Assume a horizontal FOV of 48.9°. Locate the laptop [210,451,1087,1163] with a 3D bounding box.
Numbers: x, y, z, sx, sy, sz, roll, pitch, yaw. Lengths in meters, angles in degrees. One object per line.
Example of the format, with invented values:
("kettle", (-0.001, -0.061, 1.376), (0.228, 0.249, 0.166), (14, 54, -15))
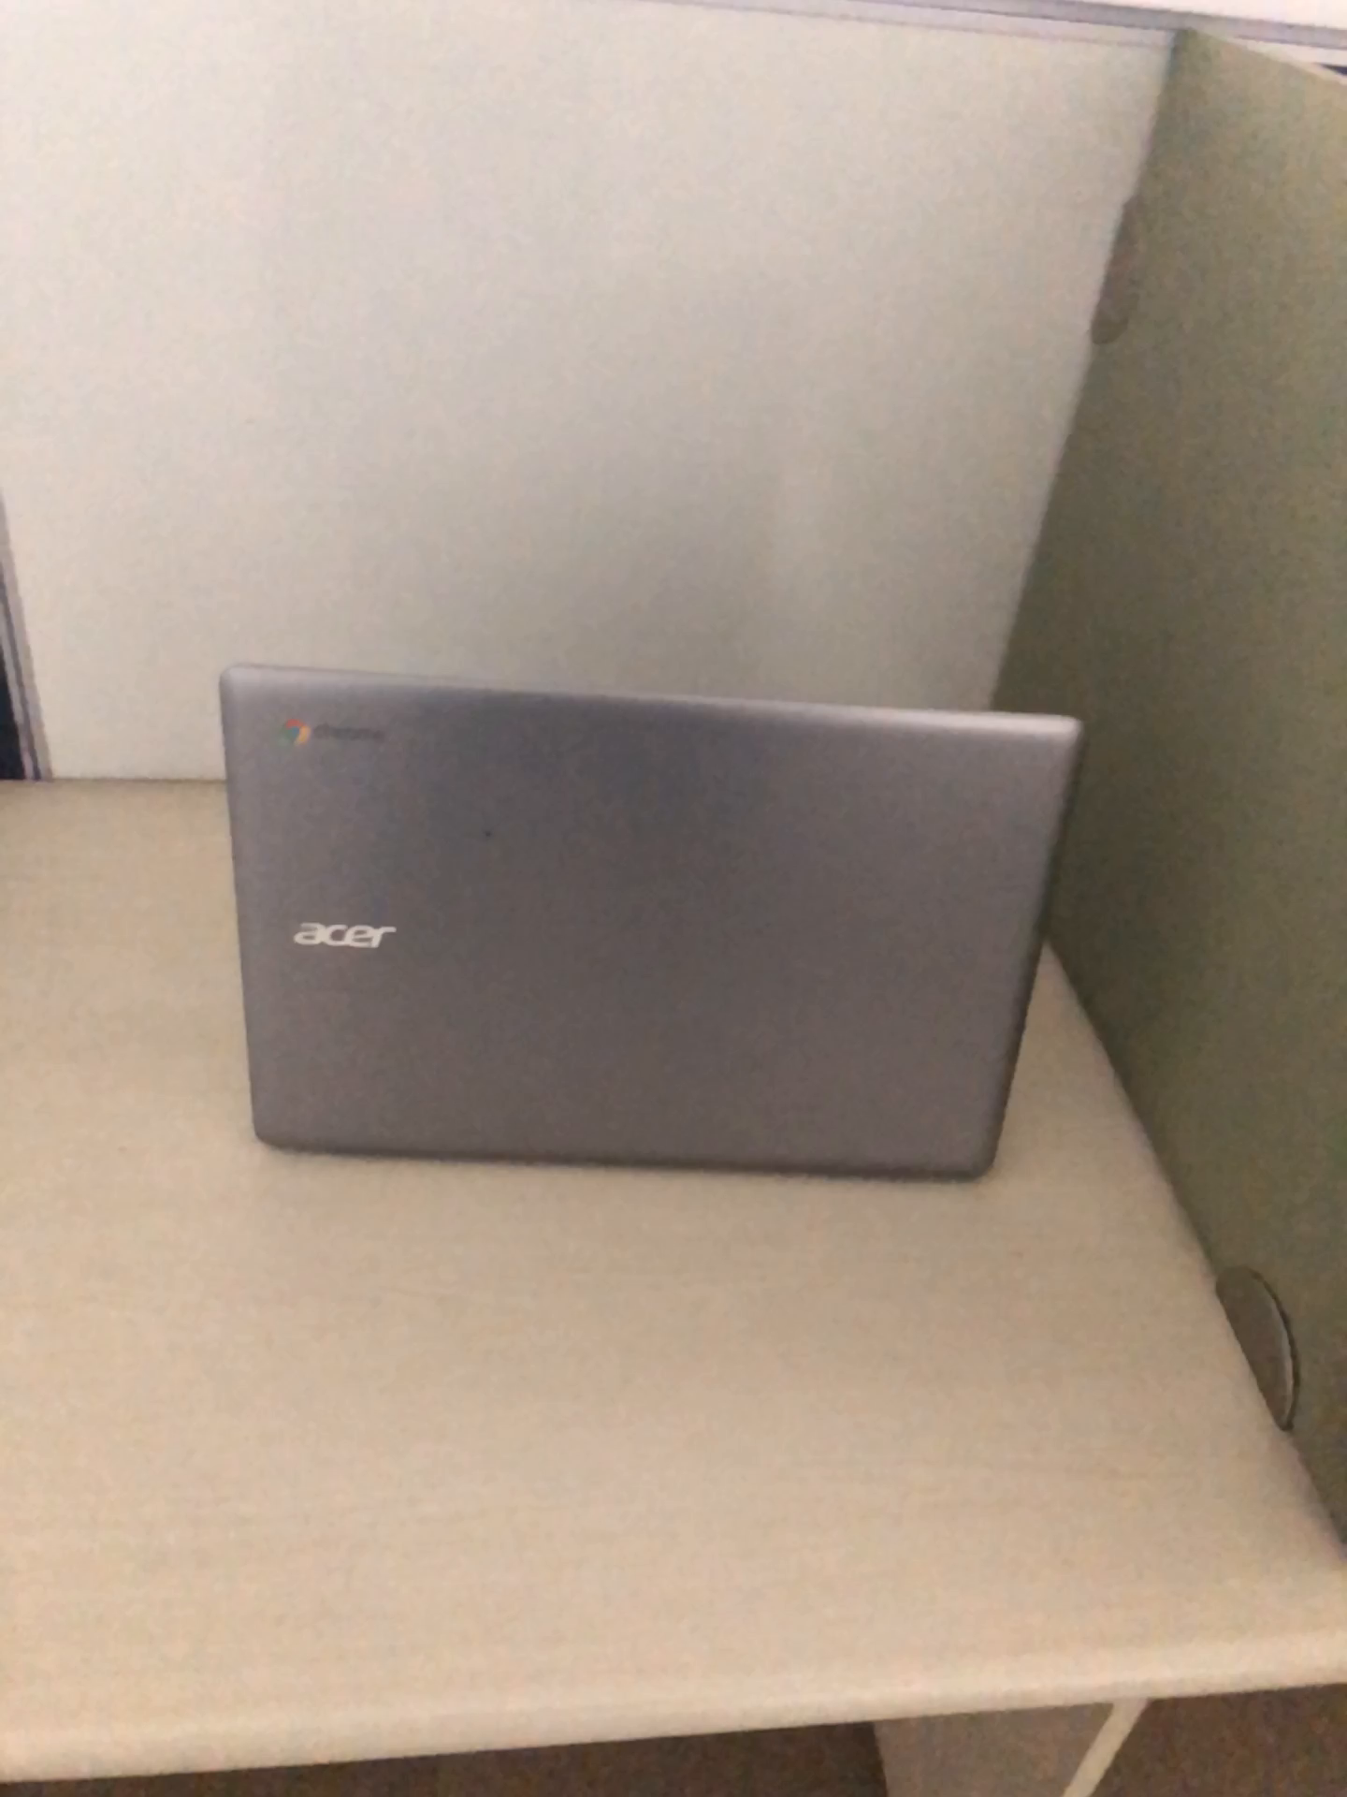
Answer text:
("laptop", (-0.012, -0.044, 0.689), (0.321, 0.218, 0.222), (4, 36, -6))
